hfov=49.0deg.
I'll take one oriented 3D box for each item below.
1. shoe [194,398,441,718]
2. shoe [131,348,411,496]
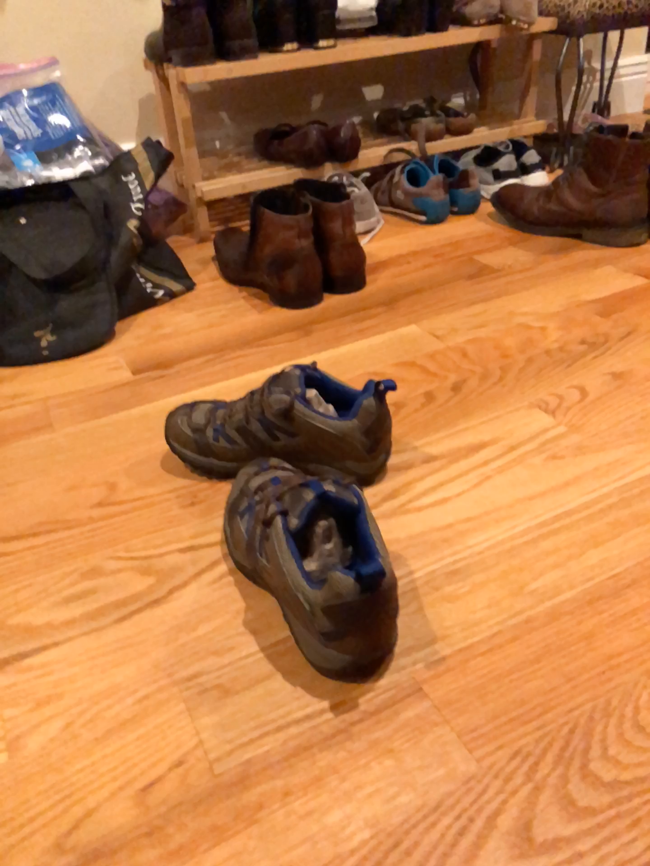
[{"bbox_3d":[-0.015,0.083,0.575,0.095,0.106,0.241,-18,36,-19],"label":"shoe"},{"bbox_3d":[-0.046,-0.015,0.708,0.251,0.094,0.097,4,34,13],"label":"shoe"}]
